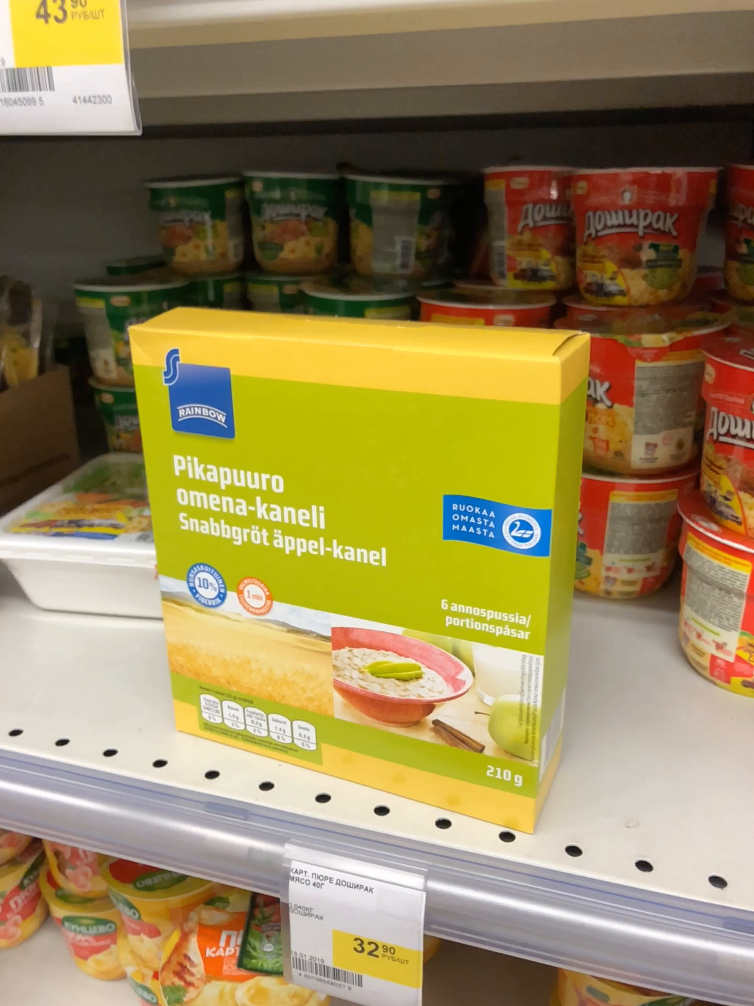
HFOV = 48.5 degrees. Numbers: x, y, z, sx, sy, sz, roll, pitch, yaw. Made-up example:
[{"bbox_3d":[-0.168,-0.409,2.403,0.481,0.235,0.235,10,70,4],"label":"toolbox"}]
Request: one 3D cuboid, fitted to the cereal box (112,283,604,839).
[{"bbox_3d":[-0.009,0.016,0.331,0.170,0.189,0.050,8,22,22],"label":"cereal box"}]
